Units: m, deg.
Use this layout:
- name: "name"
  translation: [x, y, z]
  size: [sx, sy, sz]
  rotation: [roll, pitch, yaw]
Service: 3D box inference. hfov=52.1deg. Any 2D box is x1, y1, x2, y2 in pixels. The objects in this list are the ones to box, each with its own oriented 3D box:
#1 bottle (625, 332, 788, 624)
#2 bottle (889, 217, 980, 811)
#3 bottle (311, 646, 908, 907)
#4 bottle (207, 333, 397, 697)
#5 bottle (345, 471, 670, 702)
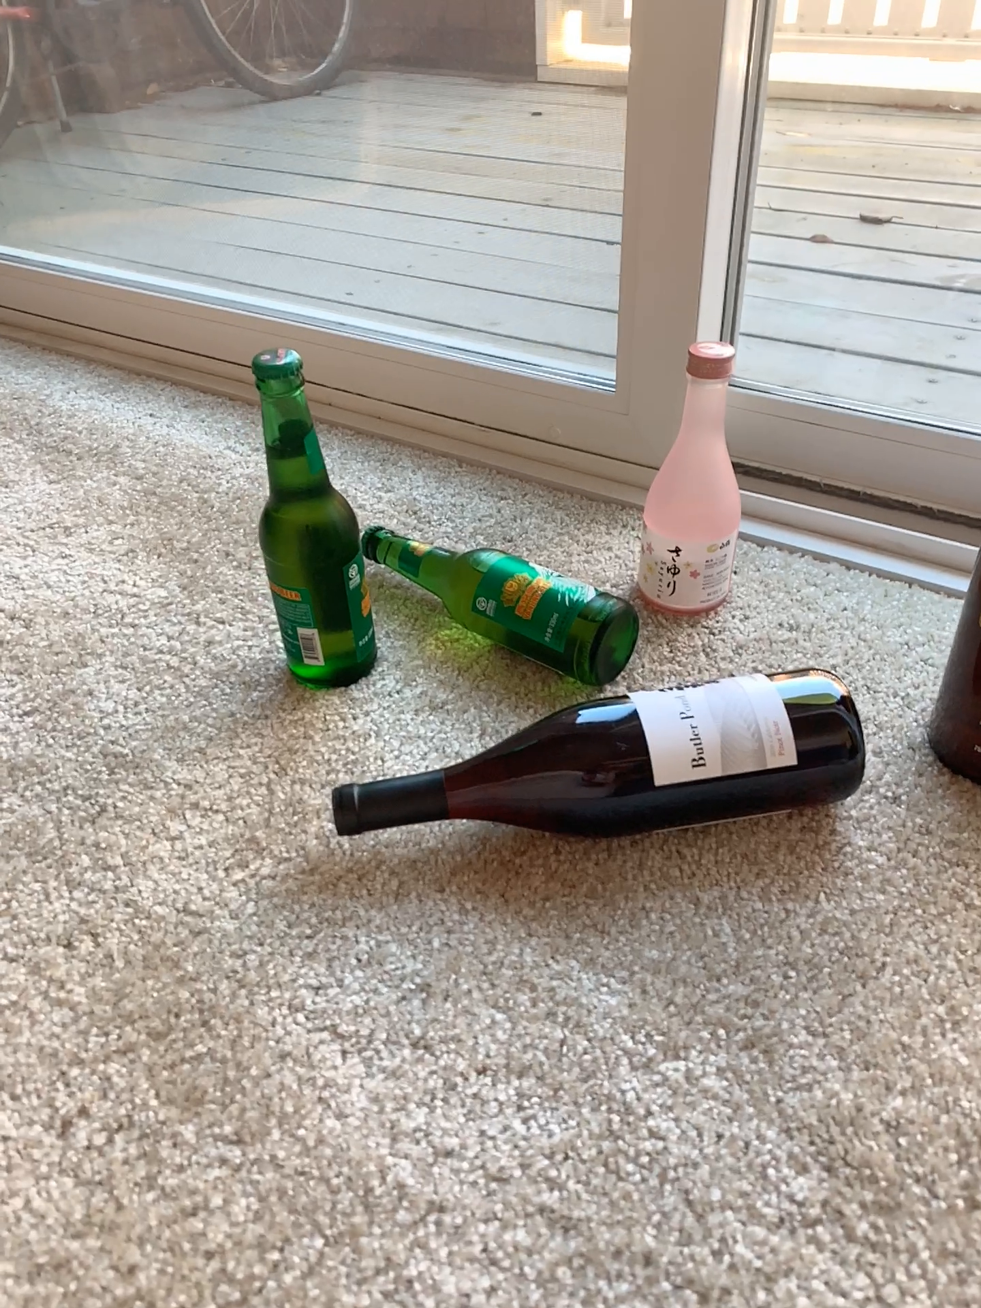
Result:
- name: "bottle"
  translation: [0.139, -0.116, 0.675]
  size: [0.070, 0.169, 0.081]
  rotation: [-7, 38, -5]
- name: "bottle"
  translation: [0.294, -0.057, 0.517]
  size: [0.080, 0.288, 0.091]
  rotation: [-7, 38, -5]
- name: "bottle"
  translation: [0.058, 0.060, 0.523]
  size: [0.290, 0.060, 0.070]
  rotation: [-8, 38, -8]
- name: "bottle"
  translation: [-0.109, -0.080, 0.613]
  size: [0.080, 0.199, 0.081]
  rotation: [-2, 38, 1]
- name: "bottle"
  translation: [0.005, -0.053, 0.683]
  size: [0.231, 0.060, 0.060]
  rotation: [27, 47, 32]
